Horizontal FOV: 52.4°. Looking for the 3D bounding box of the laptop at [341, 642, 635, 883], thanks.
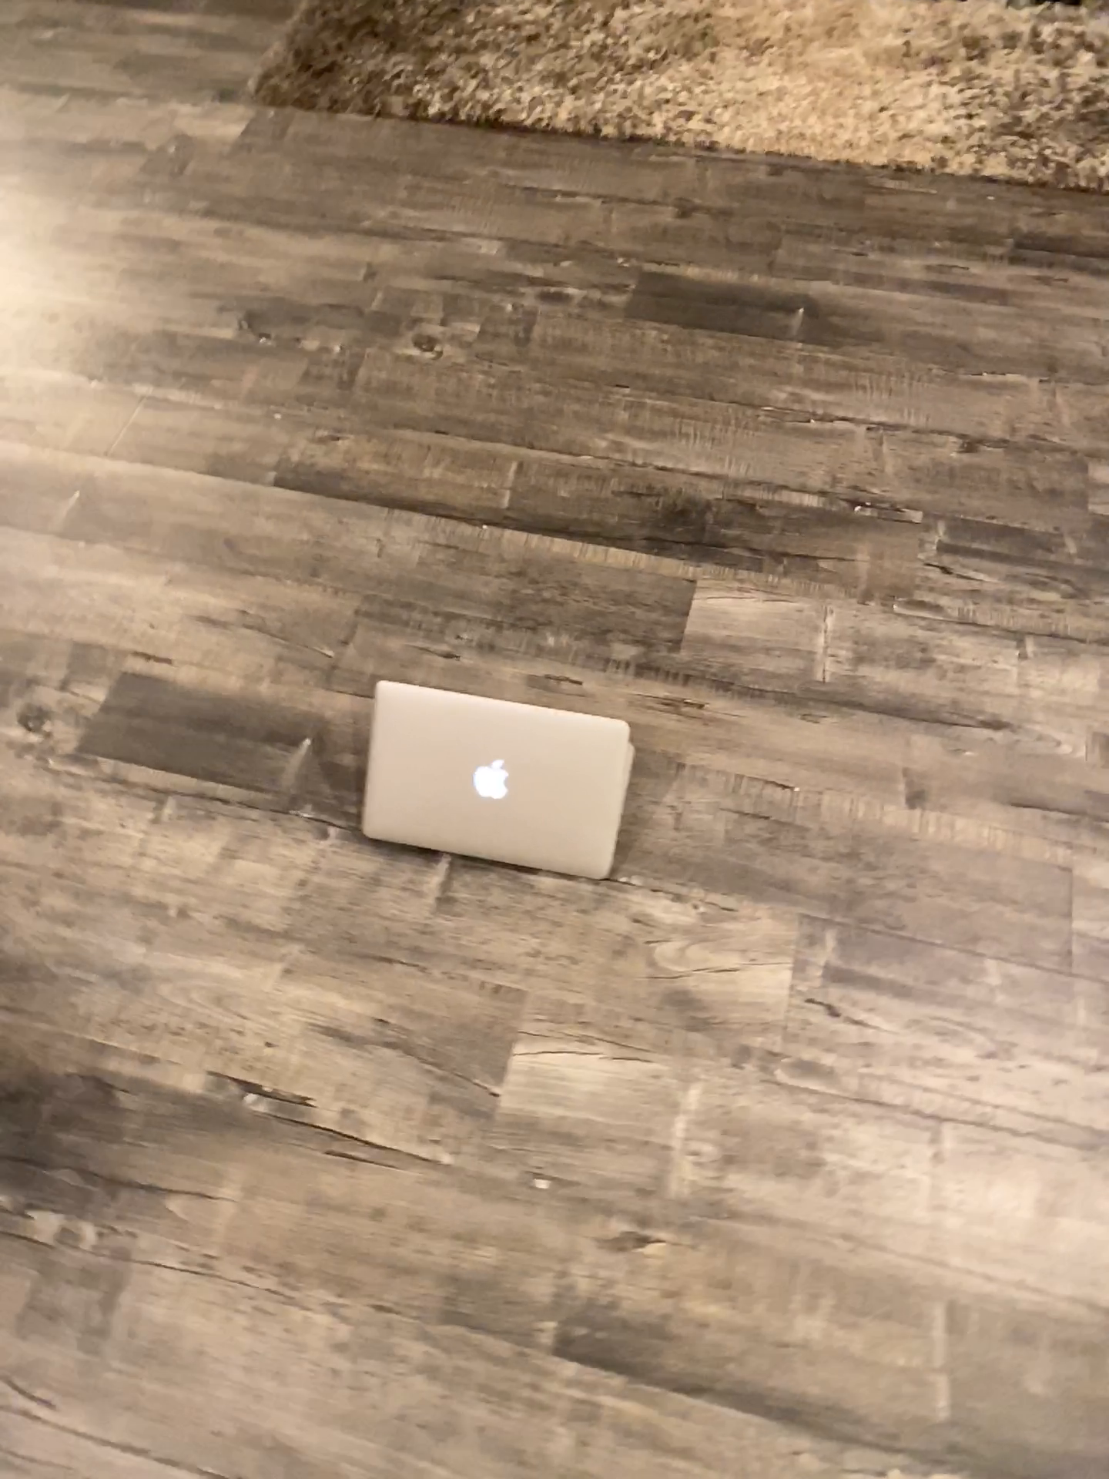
[{"bbox_3d":[-0.067,0.025,1.303,0.292,0.132,0.193,8,58,7],"label":"laptop"}]
